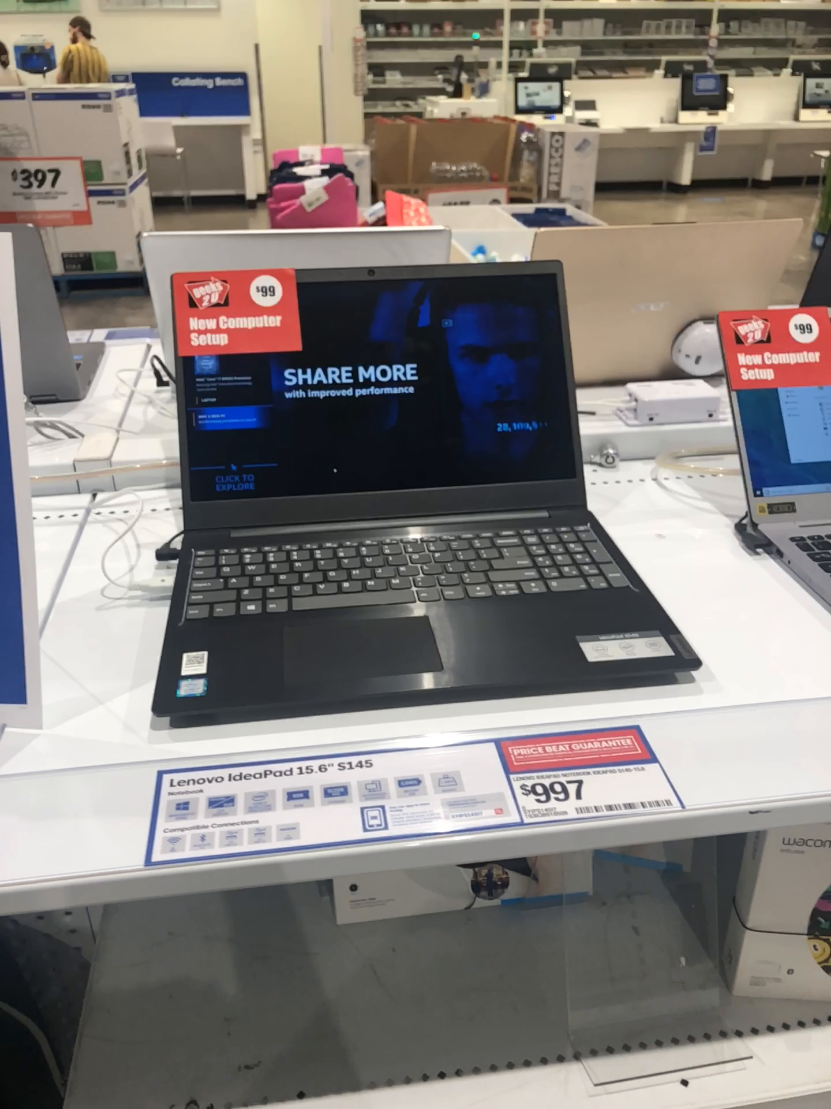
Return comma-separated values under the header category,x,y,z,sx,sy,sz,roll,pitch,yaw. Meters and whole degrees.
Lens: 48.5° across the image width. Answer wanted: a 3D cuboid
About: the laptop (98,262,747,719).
category,x,y,z,sx,sy,sz,roll,pitch,yaw
laptop,-0.014,-0.084,0.702,0.352,0.192,0.374,-4,28,-8
